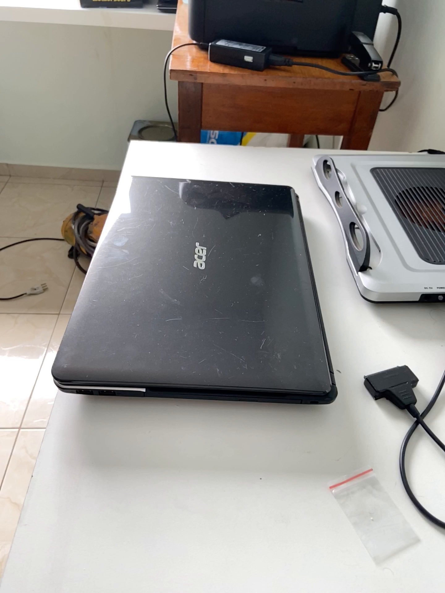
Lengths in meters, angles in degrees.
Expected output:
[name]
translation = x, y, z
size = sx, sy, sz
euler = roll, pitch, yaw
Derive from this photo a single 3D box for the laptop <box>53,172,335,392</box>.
[laptop]
translation = -0.019, -0.044, 0.498
size = 0.230, 0.005, 0.337
euler = 4, 43, -2
